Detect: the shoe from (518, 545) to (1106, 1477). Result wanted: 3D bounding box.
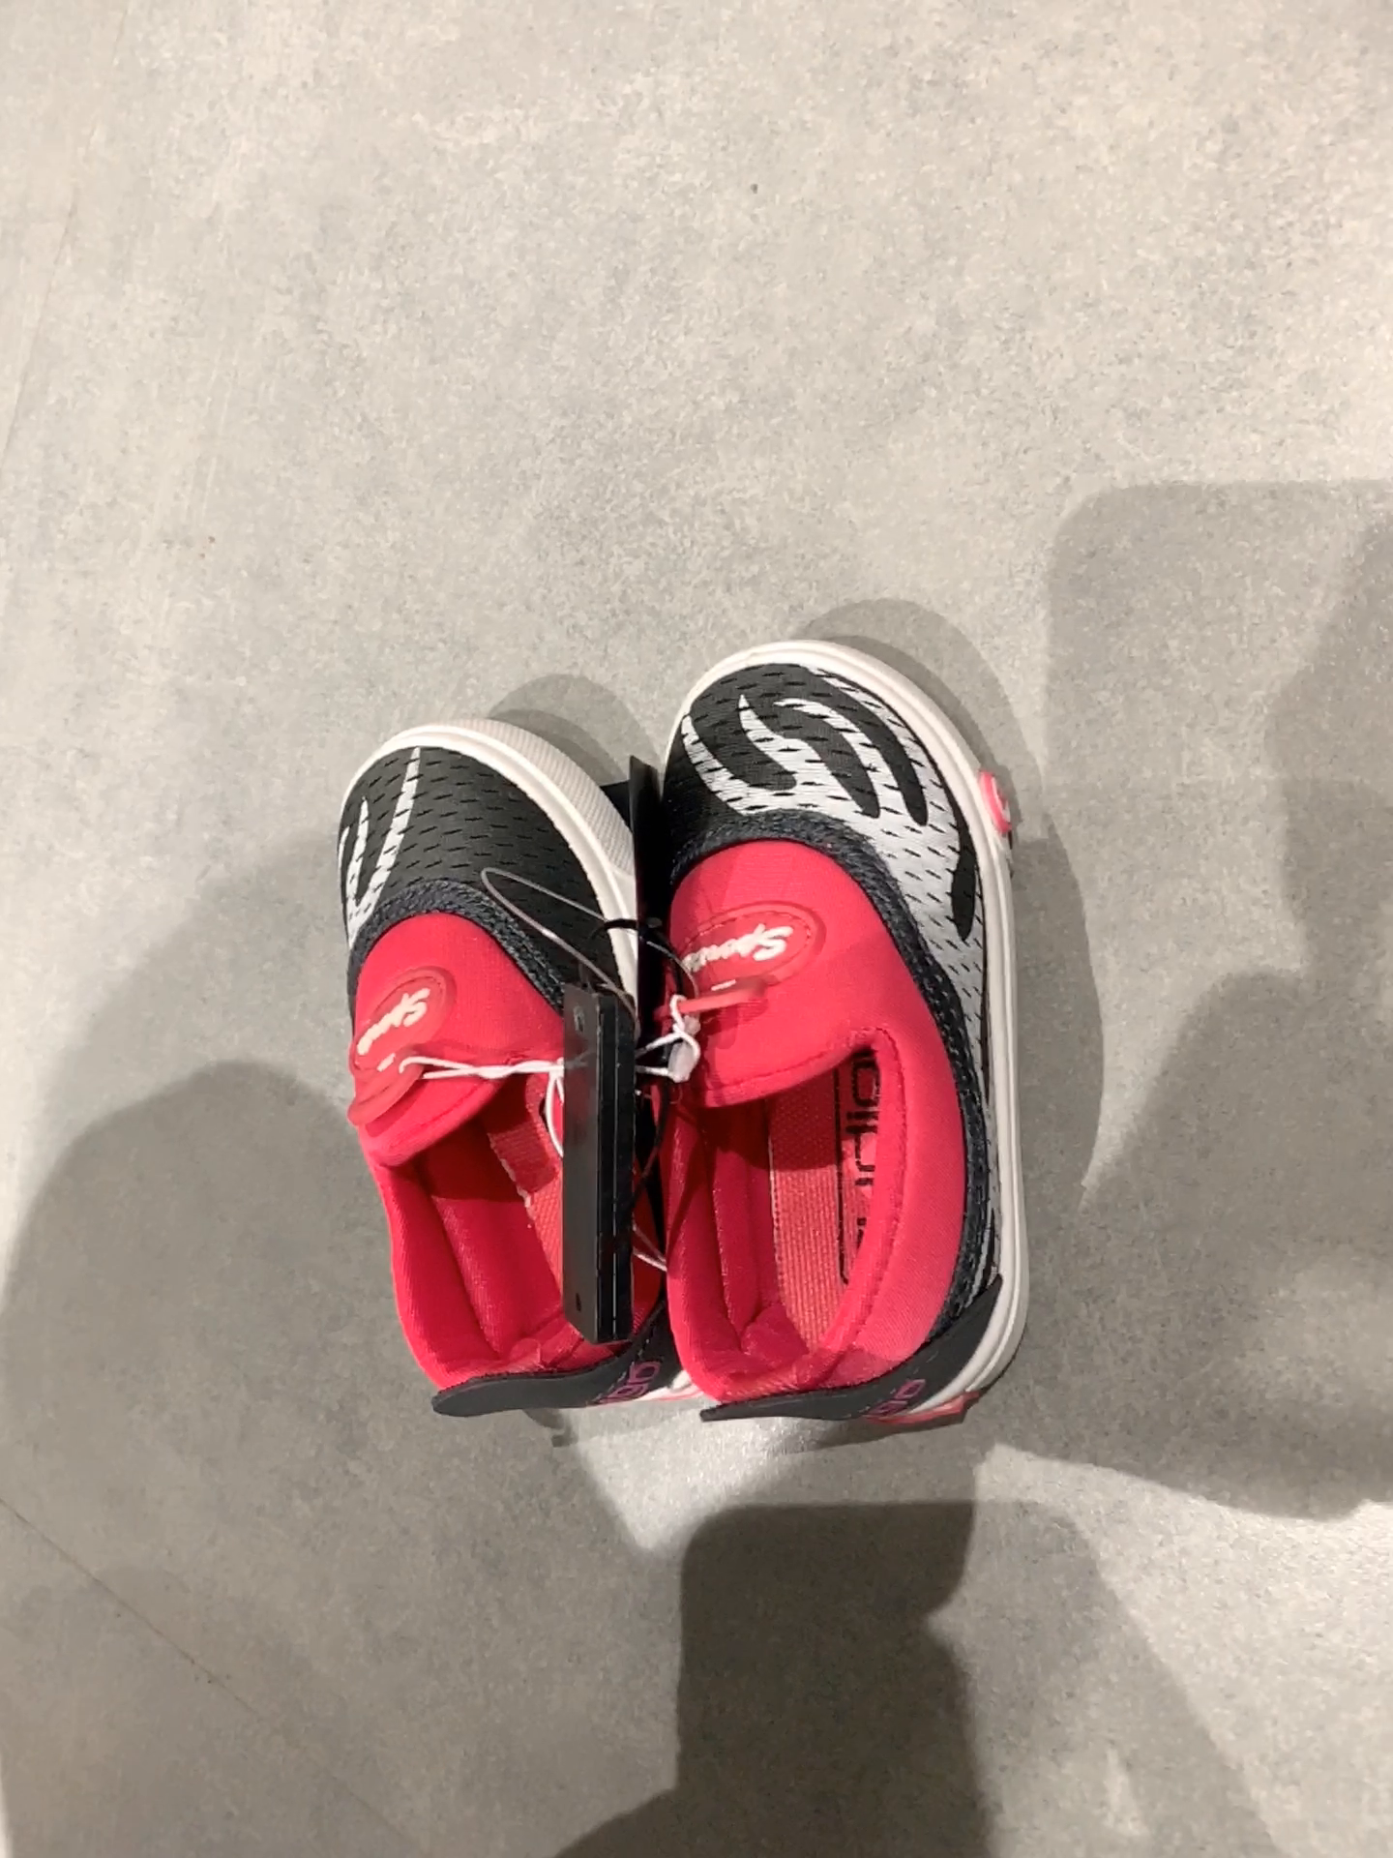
[{"bbox_3d":[0.022,0.016,0.257,0.070,0.060,0.140,-10,84,26],"label":"shoe"}]

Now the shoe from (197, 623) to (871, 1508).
[{"bbox_3d":[-0.031,0.023,0.275,0.060,0.060,0.140,-29,76,23],"label":"shoe"}]
